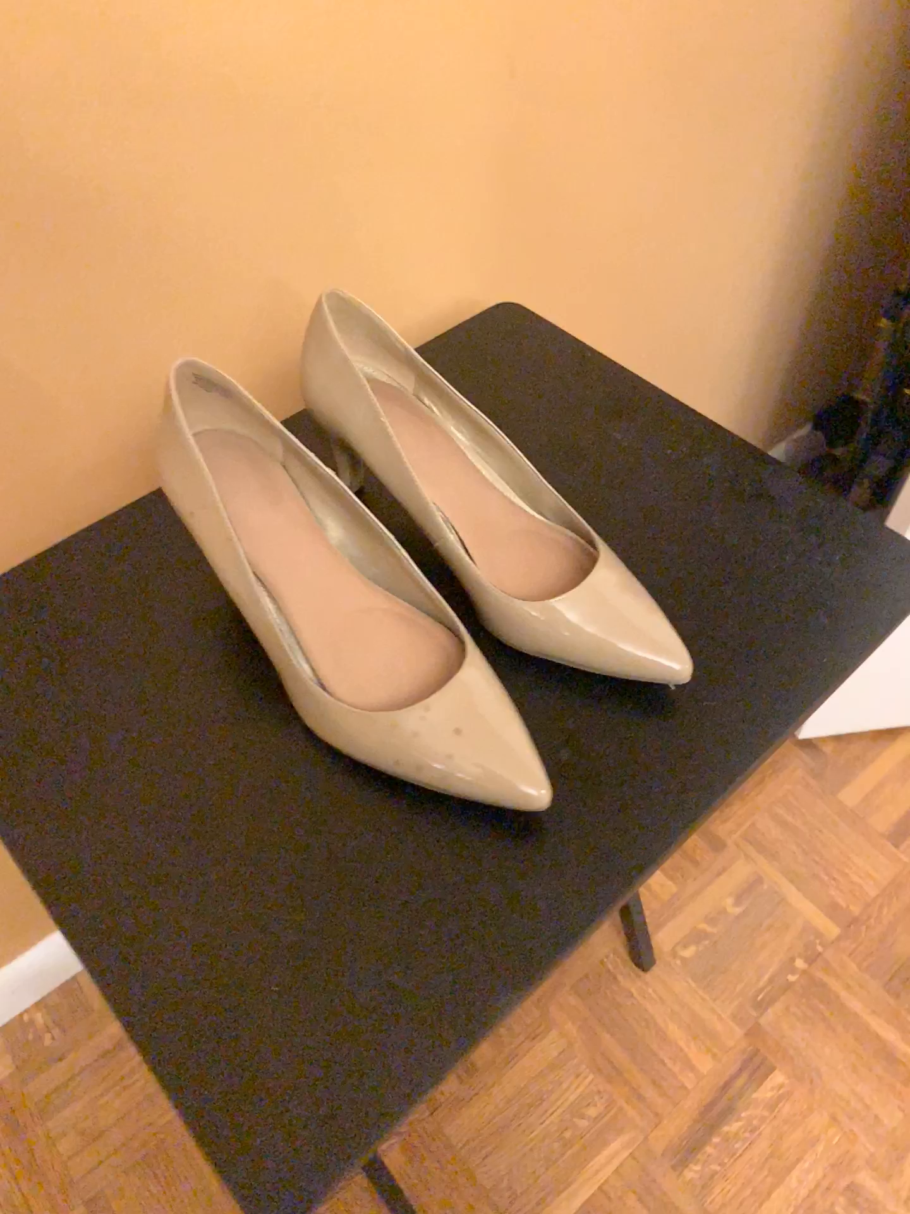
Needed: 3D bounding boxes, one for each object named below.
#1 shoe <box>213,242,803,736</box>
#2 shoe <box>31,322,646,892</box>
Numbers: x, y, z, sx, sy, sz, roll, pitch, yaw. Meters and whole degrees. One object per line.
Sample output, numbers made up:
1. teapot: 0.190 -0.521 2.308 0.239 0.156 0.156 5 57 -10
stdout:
1. shoe: 0.012 -0.077 0.493 0.301 0.090 0.100 37 60 27
2. shoe: -0.066 -0.017 0.450 0.301 0.090 0.100 37 60 27
